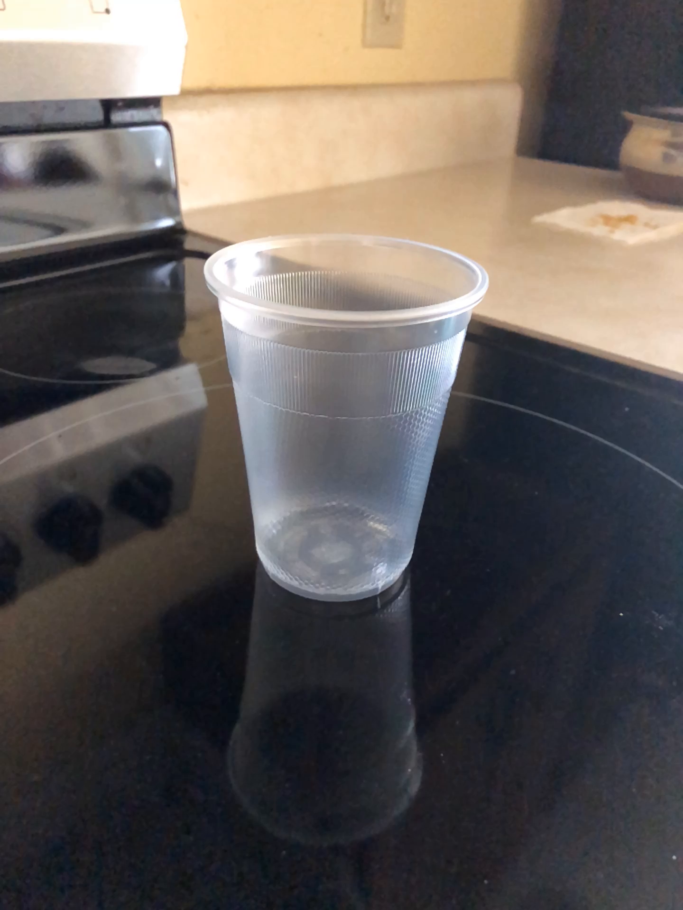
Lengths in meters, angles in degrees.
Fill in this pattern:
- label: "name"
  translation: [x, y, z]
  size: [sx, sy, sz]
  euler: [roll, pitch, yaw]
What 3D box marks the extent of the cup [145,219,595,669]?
- label: "cup"
  translation: [0.005, -0.012, 0.211]
  size: [0.079, 0.081, 0.081]
  euler: [1, 28, -1]
